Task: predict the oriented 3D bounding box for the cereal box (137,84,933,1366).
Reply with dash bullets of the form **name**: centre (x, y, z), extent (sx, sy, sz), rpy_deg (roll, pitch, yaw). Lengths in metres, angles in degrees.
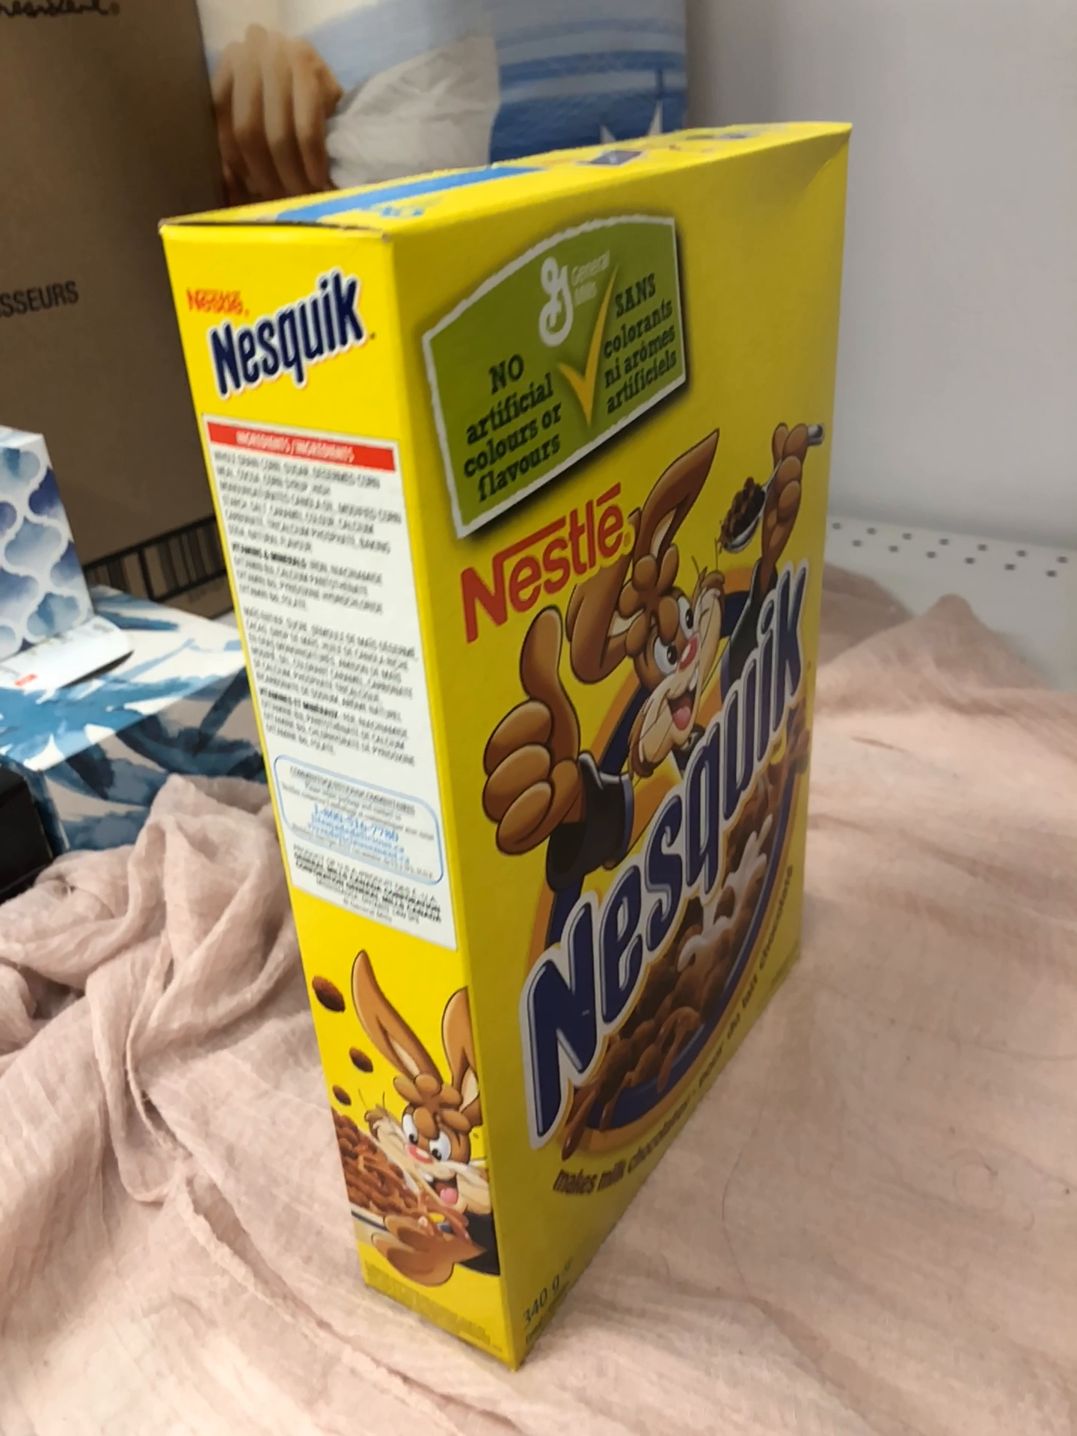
- **cereal box**: centre (0.024, -0.009, 0.309), extent (0.060, 0.259, 0.200), rpy_deg (16, 35, 31)
